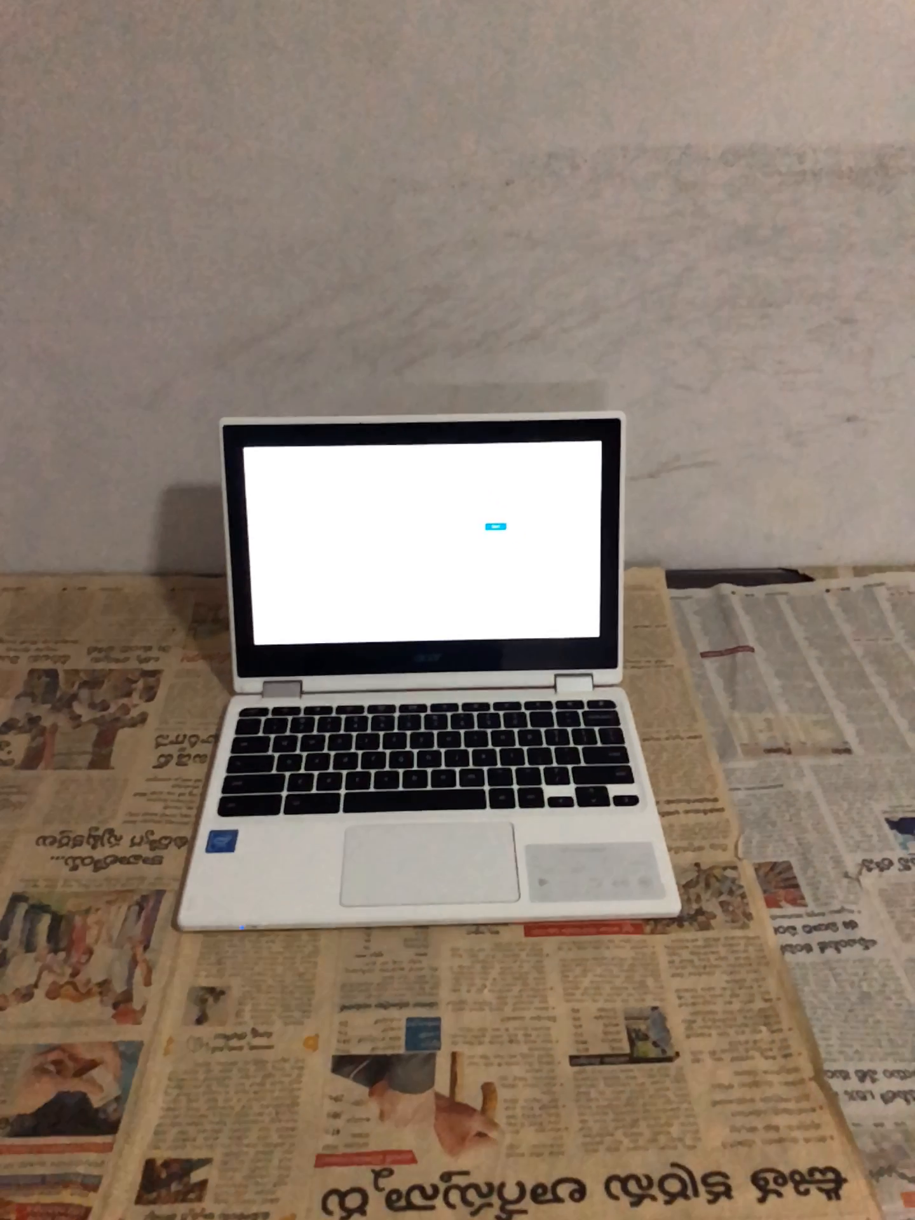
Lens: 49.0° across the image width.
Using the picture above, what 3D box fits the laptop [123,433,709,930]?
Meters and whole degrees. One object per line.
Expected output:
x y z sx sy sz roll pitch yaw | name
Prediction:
-0.021 0.027 0.623 0.268 0.168 0.279 -1 34 -1 | laptop
